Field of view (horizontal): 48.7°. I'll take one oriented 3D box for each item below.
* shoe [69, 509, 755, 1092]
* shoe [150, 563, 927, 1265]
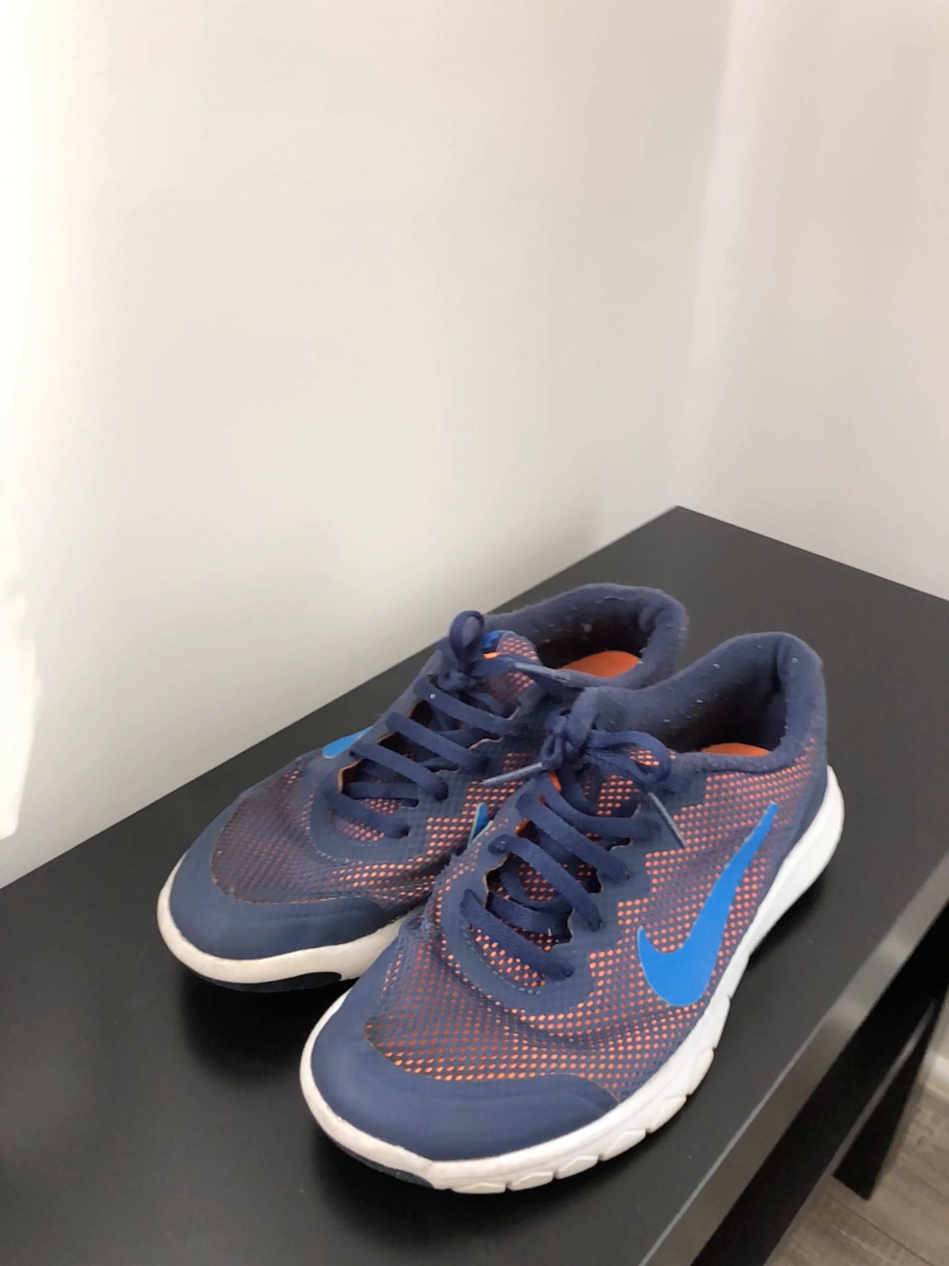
[{"bbox_3d":[-0.009,0.044,0.422,0.260,0.089,0.100,-27,41,-37],"label":"shoe"},{"bbox_3d":[0.040,0.080,0.361,0.120,0.089,0.260,24,38,32],"label":"shoe"}]
